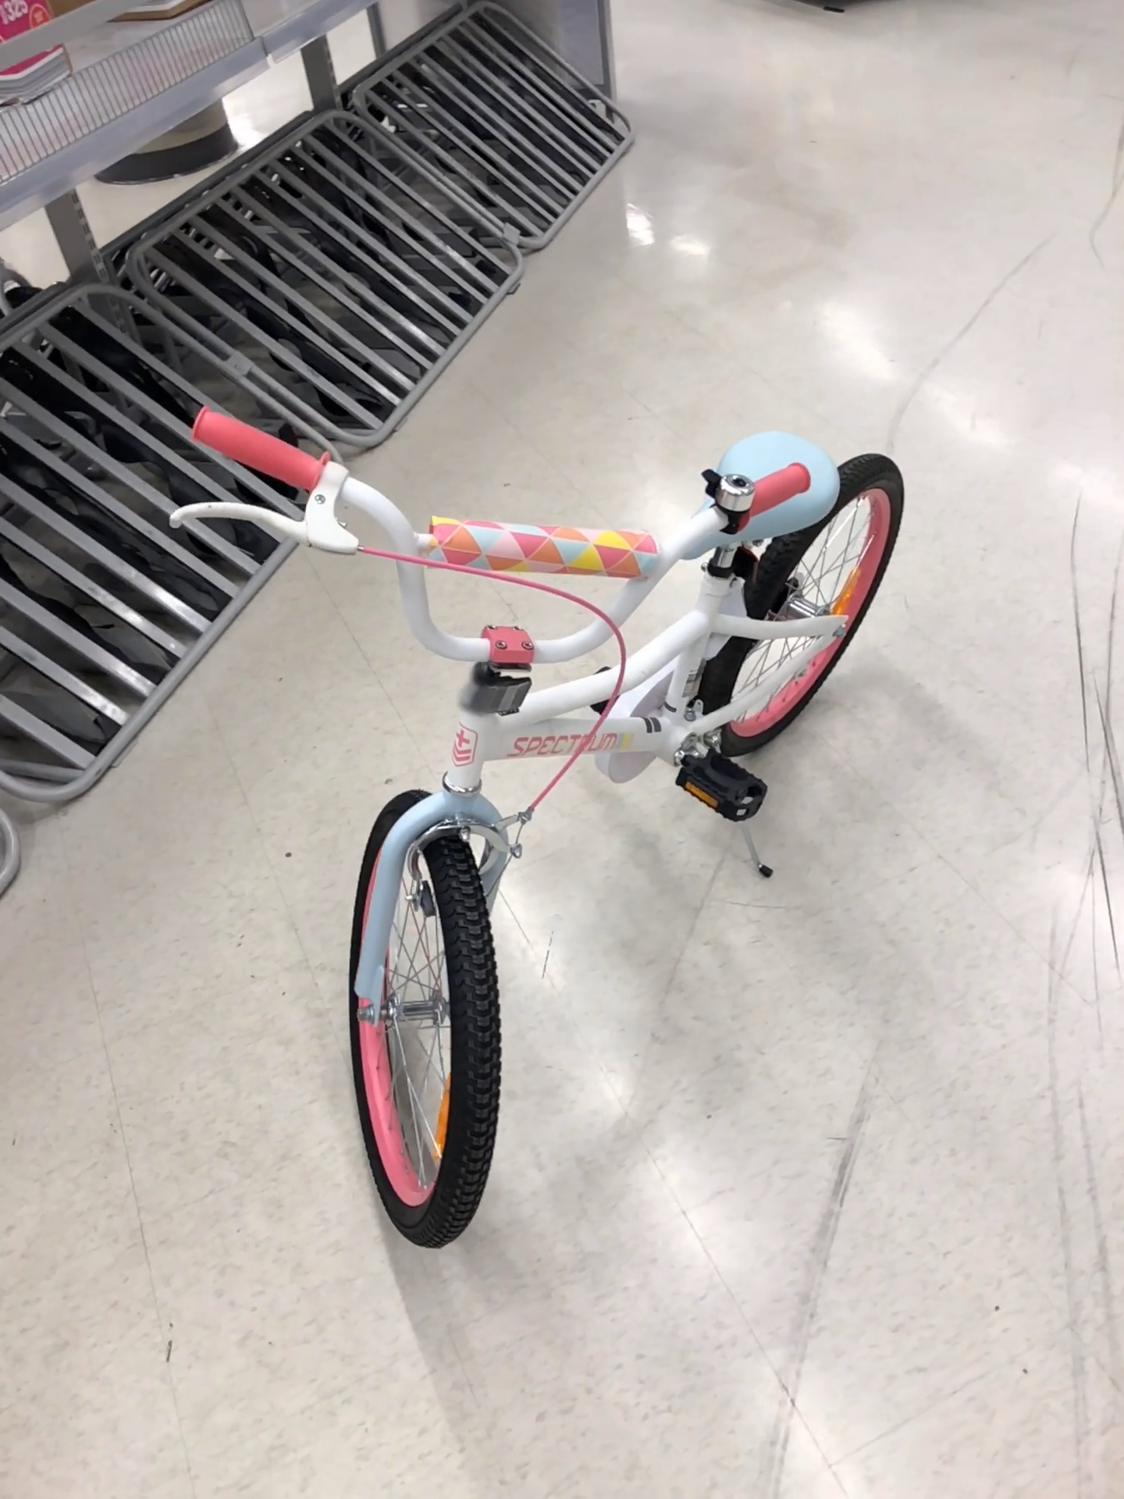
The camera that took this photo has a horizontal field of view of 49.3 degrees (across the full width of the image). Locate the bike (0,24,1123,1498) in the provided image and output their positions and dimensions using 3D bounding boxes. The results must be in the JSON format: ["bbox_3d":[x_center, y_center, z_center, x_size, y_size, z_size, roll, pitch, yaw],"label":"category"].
[{"bbox_3d":[0.201,-0.097,1.422,0.633,0.961,1.256,18,50,27],"label":"bike"}]
